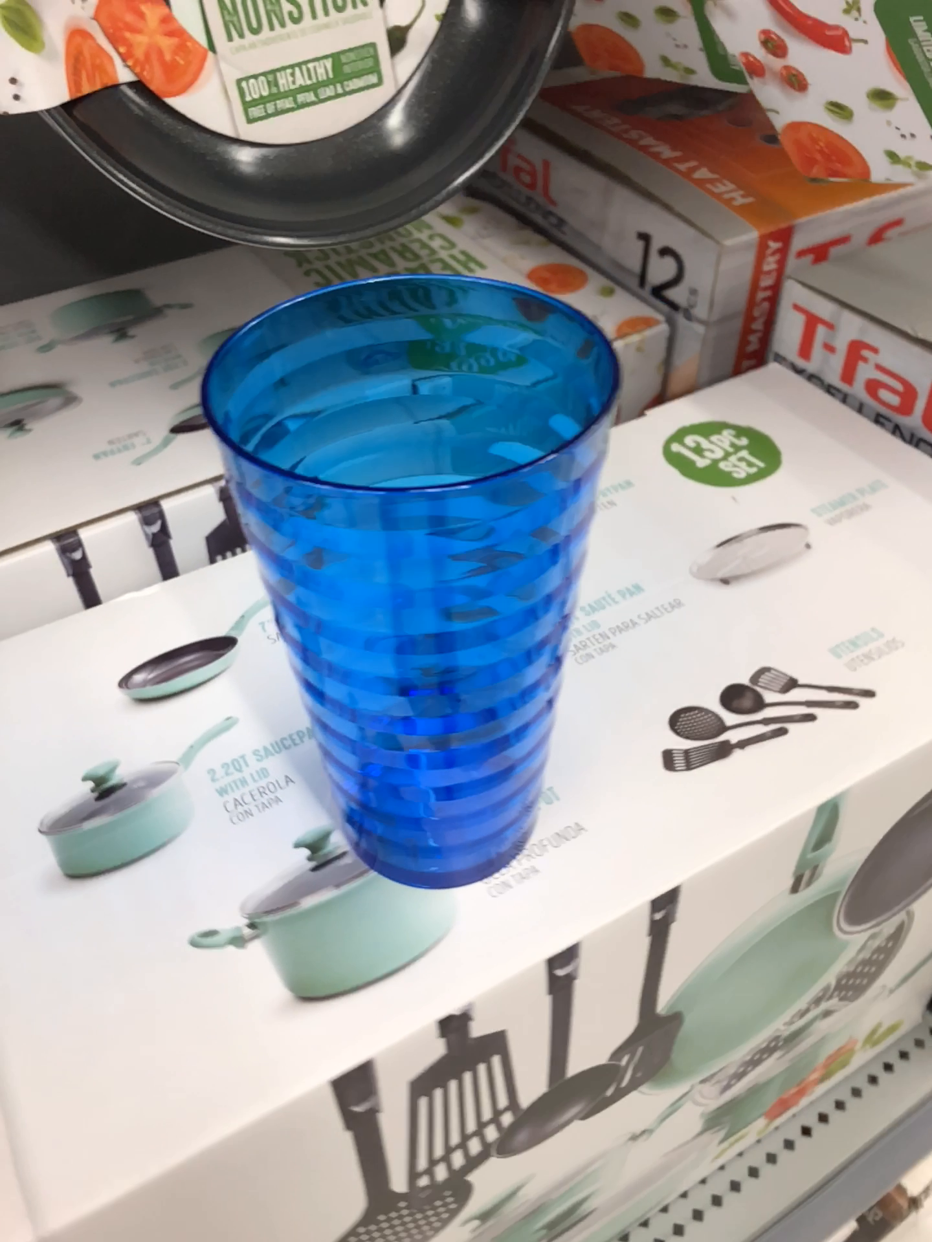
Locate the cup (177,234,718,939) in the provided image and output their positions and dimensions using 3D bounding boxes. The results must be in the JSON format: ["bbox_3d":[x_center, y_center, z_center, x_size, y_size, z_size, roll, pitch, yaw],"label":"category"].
[{"bbox_3d":[-0.009,-0.007,0.260,0.087,0.134,0.092,0,44,0],"label":"cup"}]
